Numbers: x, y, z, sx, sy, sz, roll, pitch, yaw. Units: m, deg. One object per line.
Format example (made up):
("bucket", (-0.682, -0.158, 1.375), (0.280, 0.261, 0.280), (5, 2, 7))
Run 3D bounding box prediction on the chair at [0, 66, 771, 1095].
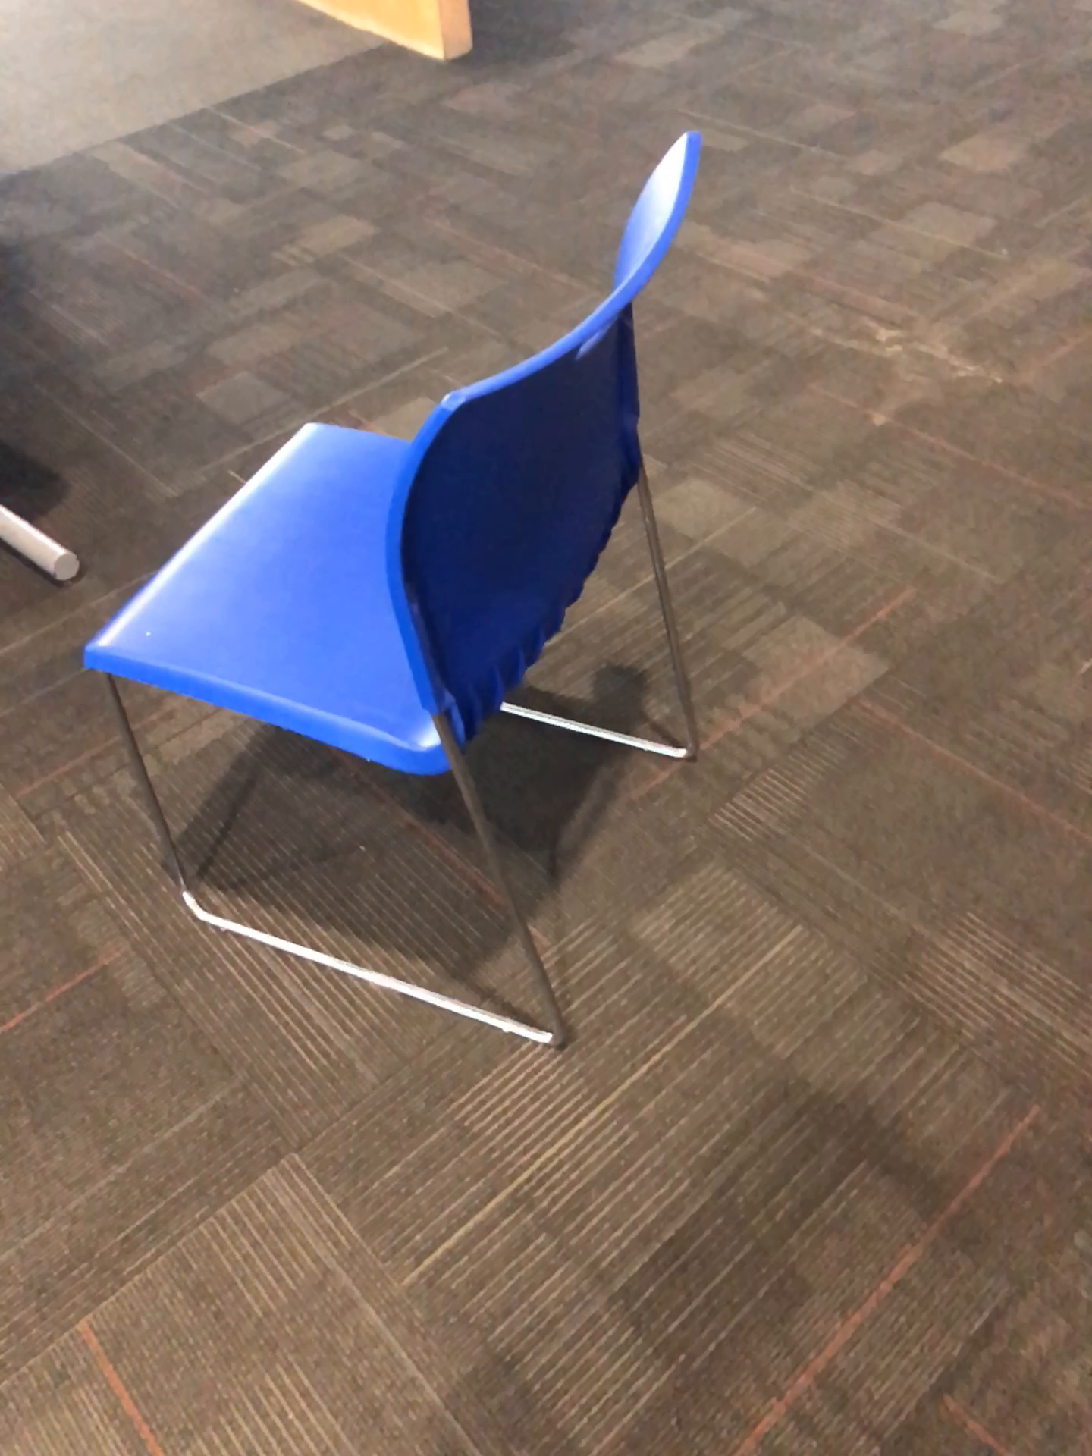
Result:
("chair", (-0.159, -0.158, 1.238), (0.591, 0.757, 0.582), (14, 48, 19))
